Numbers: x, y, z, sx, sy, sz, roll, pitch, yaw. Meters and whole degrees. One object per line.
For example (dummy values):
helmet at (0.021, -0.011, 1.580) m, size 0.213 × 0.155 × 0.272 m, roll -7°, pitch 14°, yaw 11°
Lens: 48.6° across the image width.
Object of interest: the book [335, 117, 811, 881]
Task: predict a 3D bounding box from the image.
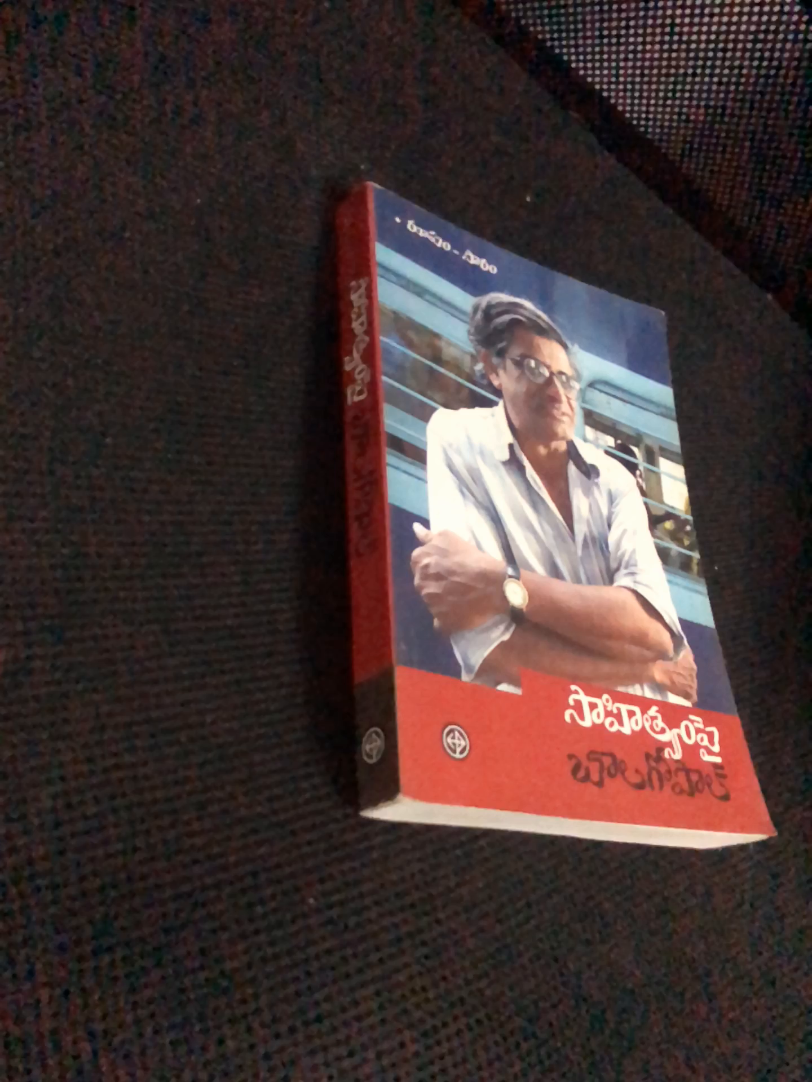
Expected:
book at (0.053, -0.015, 0.288) m, size 0.153 × 0.030 × 0.225 m, roll 16°, pitch 56°, yaw -31°
